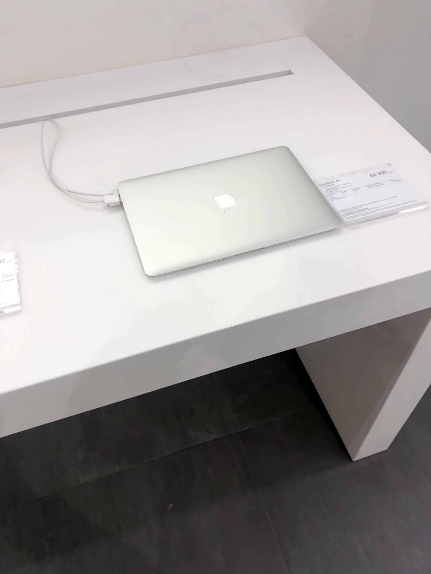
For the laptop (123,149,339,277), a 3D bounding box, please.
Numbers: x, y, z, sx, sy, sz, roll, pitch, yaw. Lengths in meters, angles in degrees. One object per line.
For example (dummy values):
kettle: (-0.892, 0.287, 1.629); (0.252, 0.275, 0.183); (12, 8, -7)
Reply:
laptop: (0.019, -0.135, 0.788); (0.307, 0.008, 0.210); (-15, 53, -10)
